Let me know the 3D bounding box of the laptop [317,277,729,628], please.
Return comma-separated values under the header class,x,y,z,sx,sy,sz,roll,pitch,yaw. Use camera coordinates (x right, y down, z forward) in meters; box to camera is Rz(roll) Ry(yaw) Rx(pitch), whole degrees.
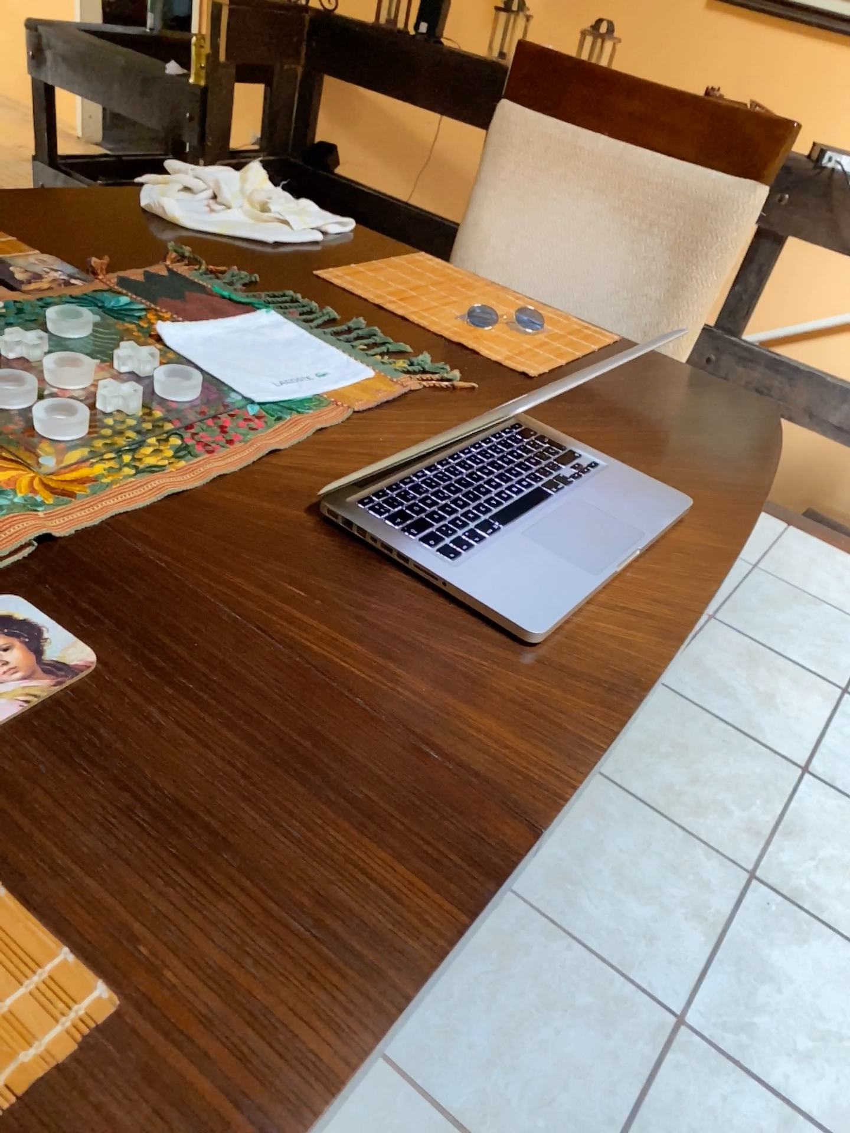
class,x,y,z,sx,sy,sz,roll,pitch,yaw
laptop,0.097,-0.126,0.781,0.213,0.152,0.323,30,37,21
